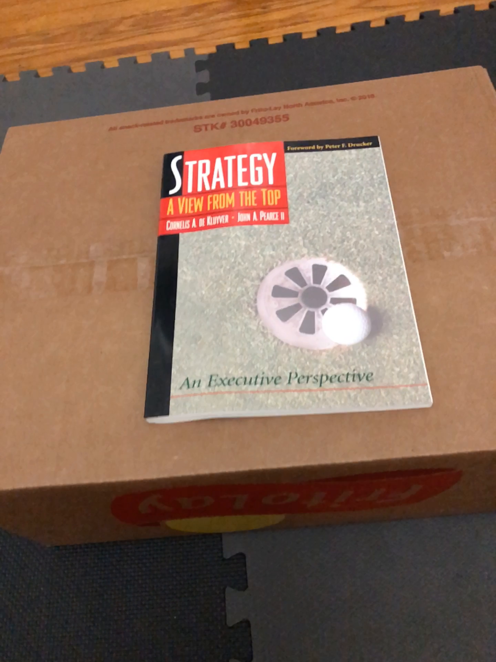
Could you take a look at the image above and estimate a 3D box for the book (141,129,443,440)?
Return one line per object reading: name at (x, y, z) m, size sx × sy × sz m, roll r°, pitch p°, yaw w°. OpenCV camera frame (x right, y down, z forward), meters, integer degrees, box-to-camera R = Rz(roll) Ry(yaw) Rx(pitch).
book at (0.023, -0.046, 0.395) m, size 0.180 × 0.020 × 0.241 m, roll -4°, pitch 60°, yaw 5°
